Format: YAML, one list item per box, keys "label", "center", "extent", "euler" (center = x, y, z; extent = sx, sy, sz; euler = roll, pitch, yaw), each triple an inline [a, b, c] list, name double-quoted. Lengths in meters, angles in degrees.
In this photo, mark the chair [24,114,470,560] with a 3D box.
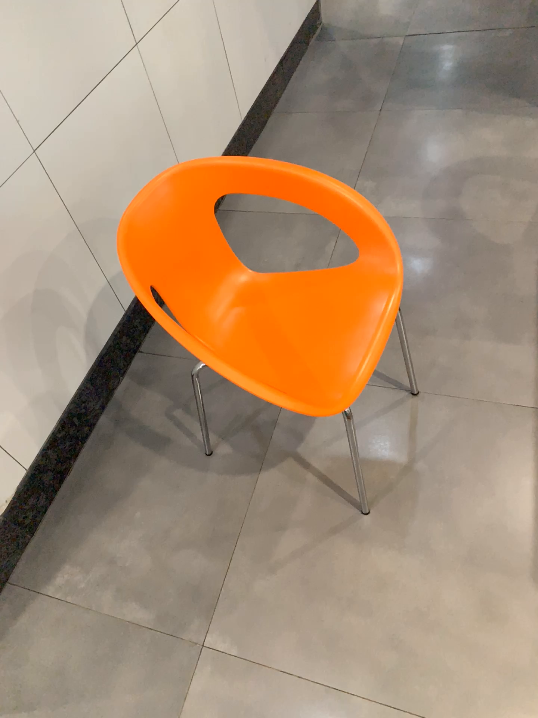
- label: "chair"
  center: [0.035, -0.078, 1.295]
  extent: [0.642, 0.665, 0.663]
  euler: [14, 54, 24]
